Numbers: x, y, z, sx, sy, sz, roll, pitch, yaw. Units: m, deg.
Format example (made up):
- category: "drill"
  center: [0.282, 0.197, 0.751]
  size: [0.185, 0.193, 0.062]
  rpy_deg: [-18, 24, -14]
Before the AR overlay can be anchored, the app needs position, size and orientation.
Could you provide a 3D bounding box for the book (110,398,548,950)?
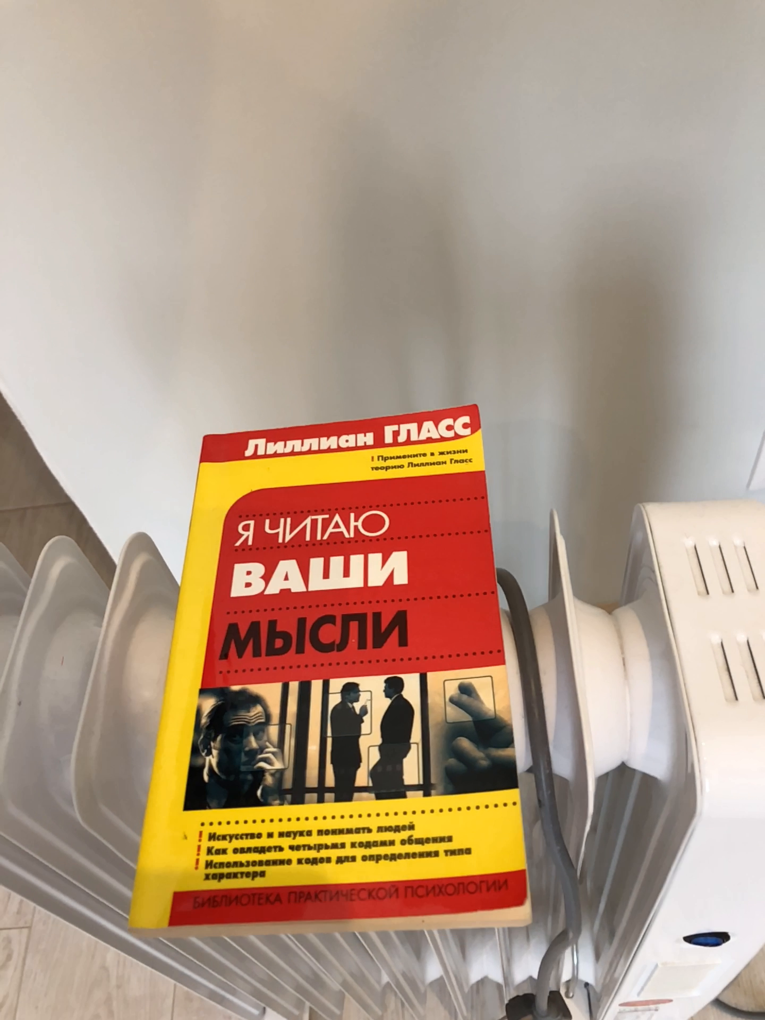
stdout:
- category: "book"
  center: [-0.016, 0.045, 0.315]
  size: [0.128, 0.020, 0.208]
  rpy_deg: [-6, 51, 6]
